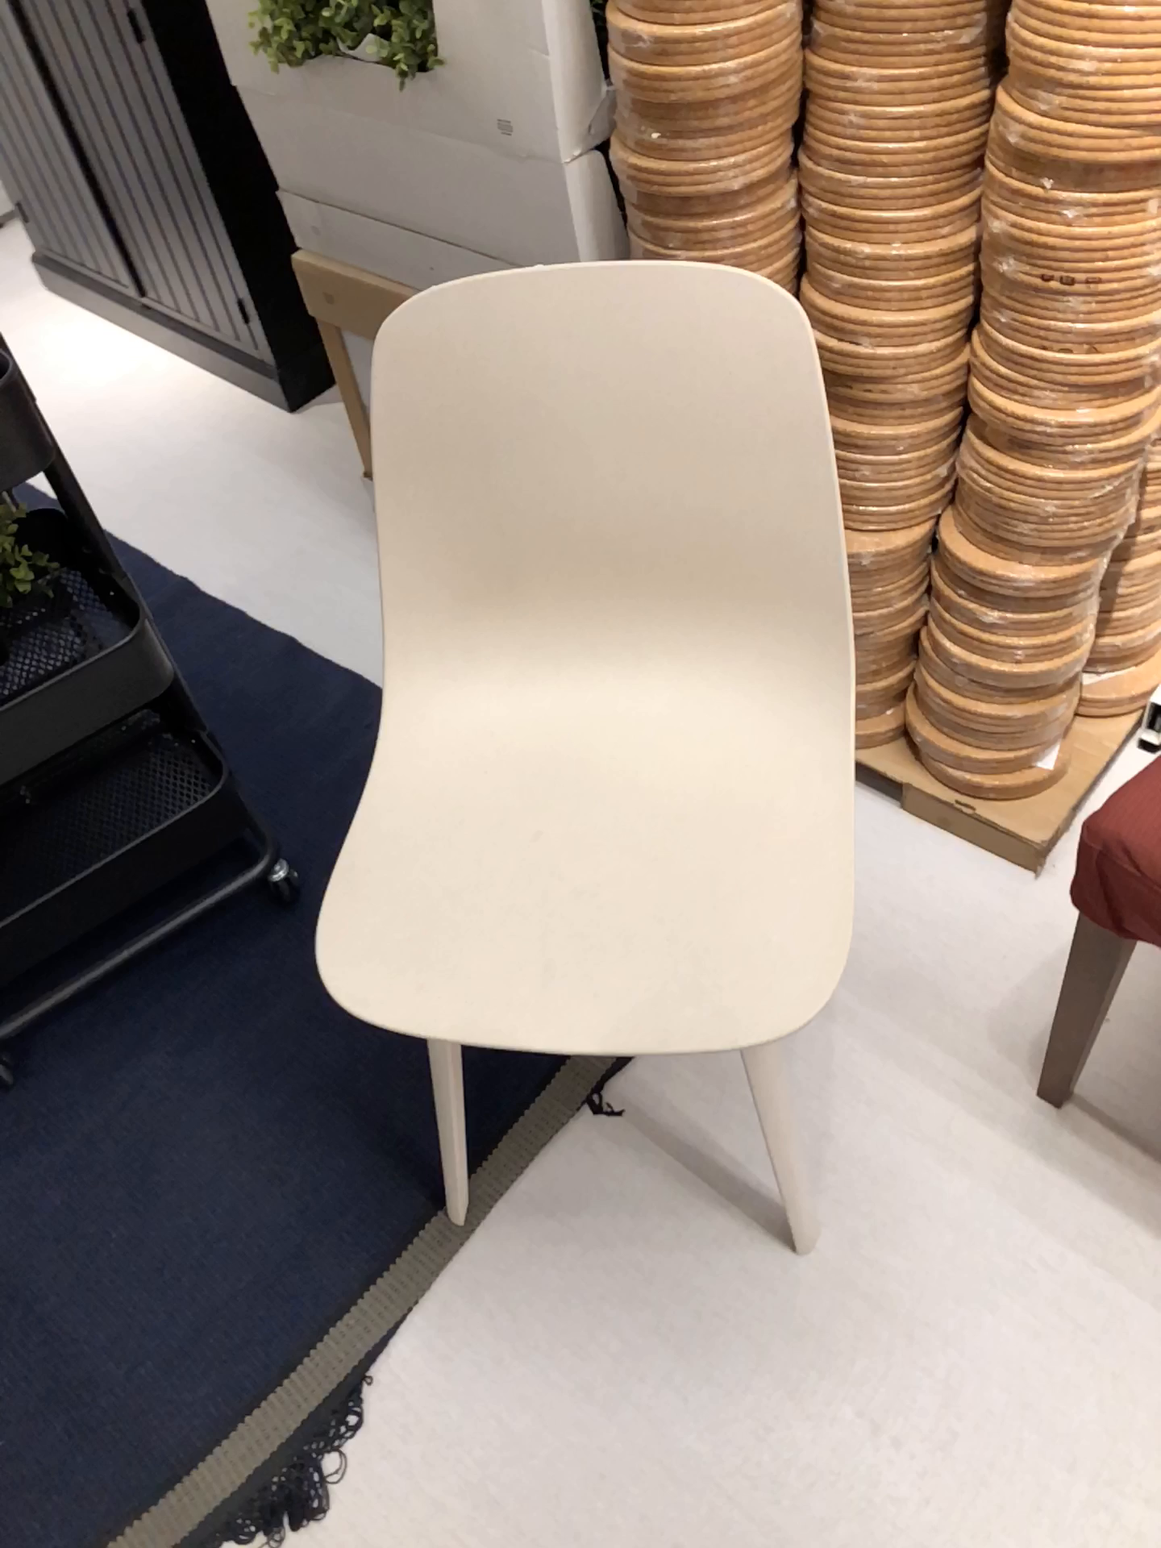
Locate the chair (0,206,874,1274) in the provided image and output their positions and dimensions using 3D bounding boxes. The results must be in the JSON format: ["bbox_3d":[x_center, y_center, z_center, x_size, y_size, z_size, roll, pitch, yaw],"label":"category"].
[{"bbox_3d":[0.000,0.021,1.036,0.450,0.696,0.493,-1,50,12],"label":"chair"}]
